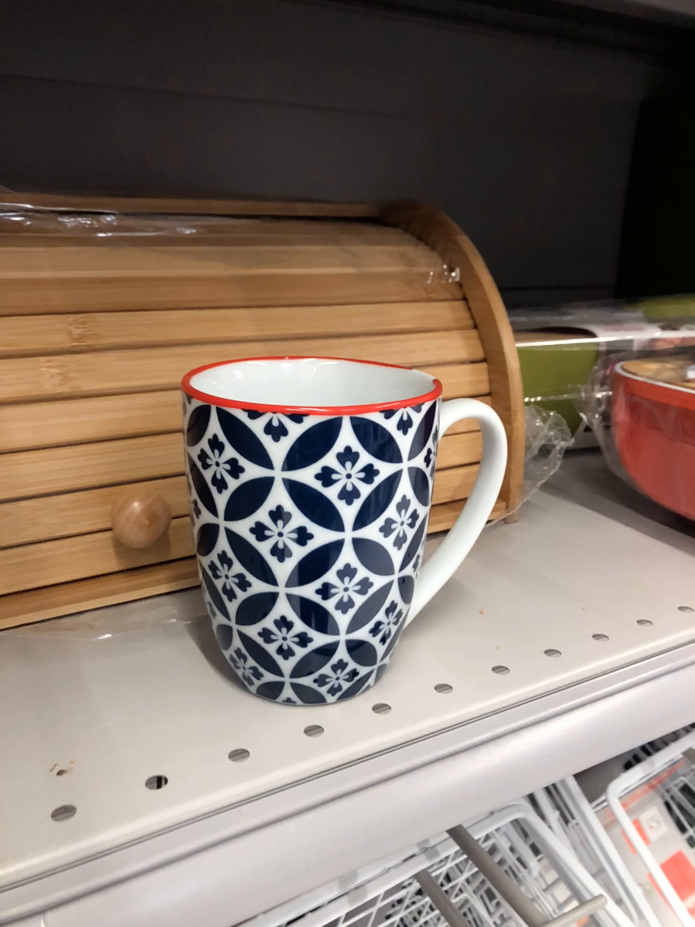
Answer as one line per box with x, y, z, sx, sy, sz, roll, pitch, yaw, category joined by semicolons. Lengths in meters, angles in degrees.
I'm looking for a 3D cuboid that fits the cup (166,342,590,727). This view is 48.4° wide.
0.007;0.013;0.265;0.113;0.090;0.080;-8;21;-28;cup
